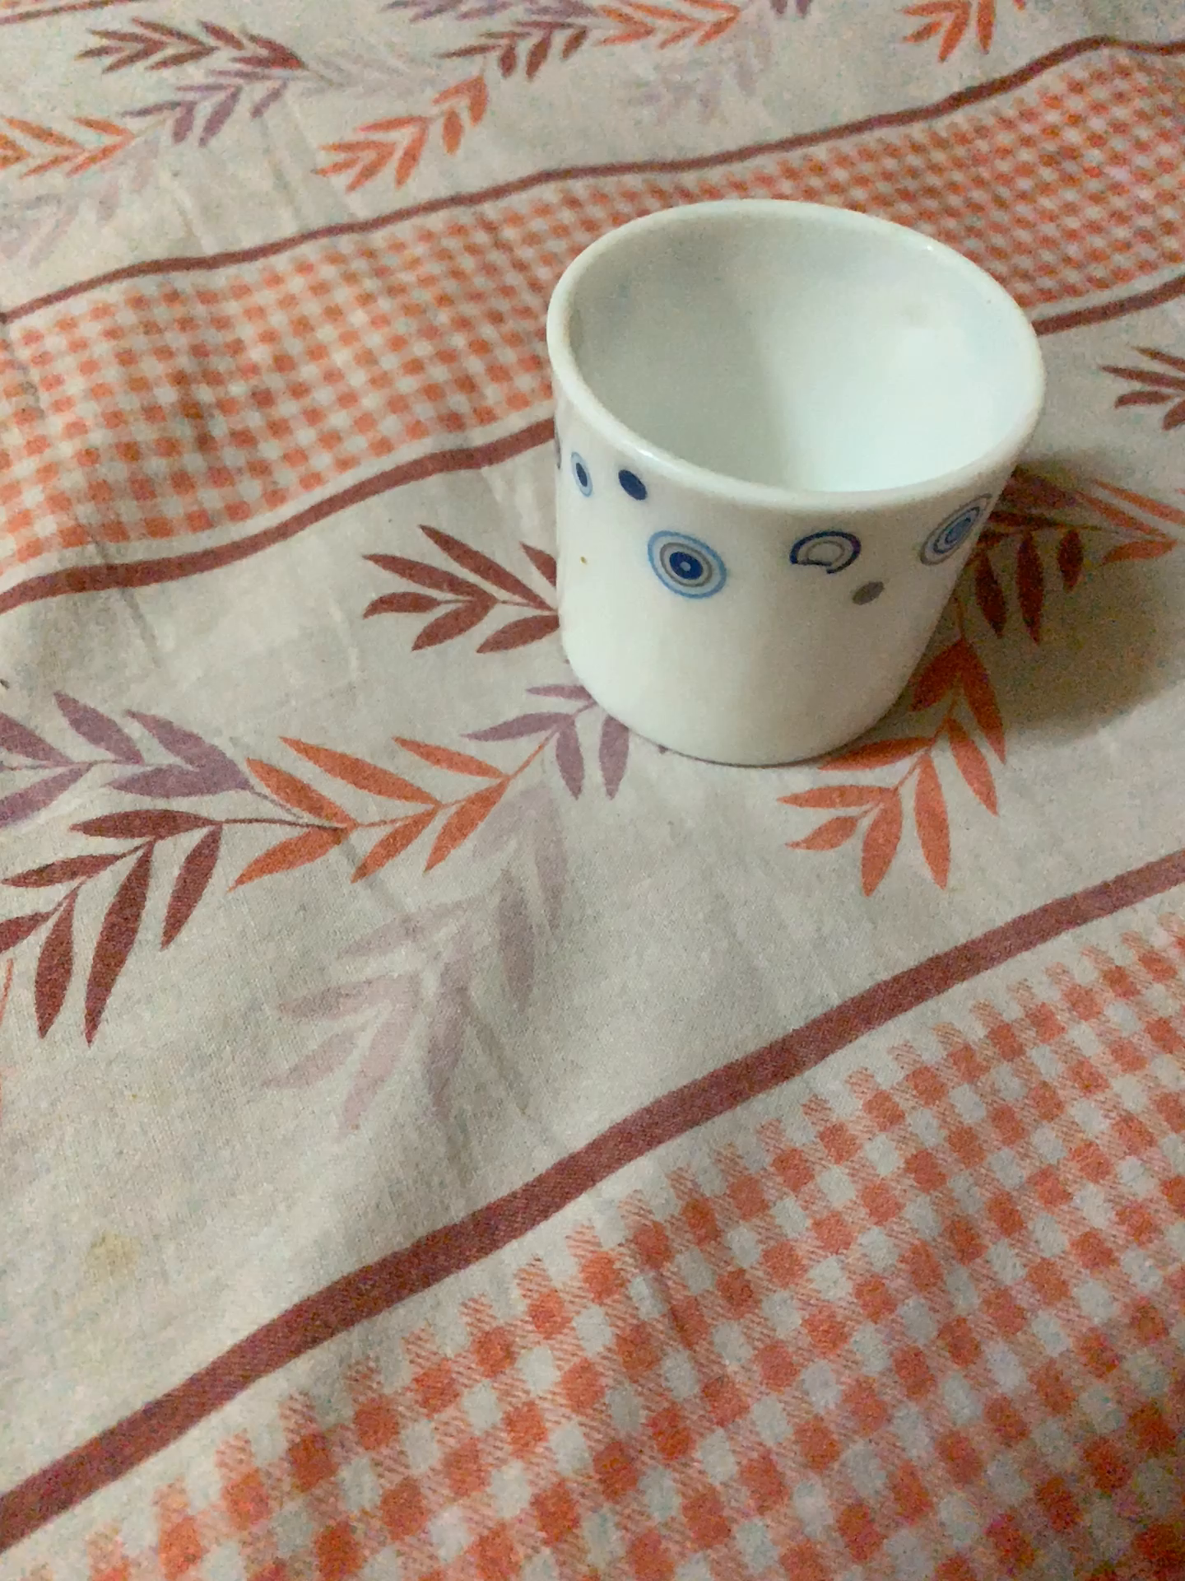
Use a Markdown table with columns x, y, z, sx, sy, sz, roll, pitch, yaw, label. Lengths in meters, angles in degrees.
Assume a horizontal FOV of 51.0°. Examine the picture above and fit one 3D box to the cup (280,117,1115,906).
| x | y | z | sx | sy | sz | roll | pitch | yaw | label |
| --- | --- | --- | --- | --- | --- | --- | --- | --- | --- |
| 0.015 | -0.049 | 0.208 | 0.100 | 0.070 | 0.070 | -32 | 62 | -23 | cup |
